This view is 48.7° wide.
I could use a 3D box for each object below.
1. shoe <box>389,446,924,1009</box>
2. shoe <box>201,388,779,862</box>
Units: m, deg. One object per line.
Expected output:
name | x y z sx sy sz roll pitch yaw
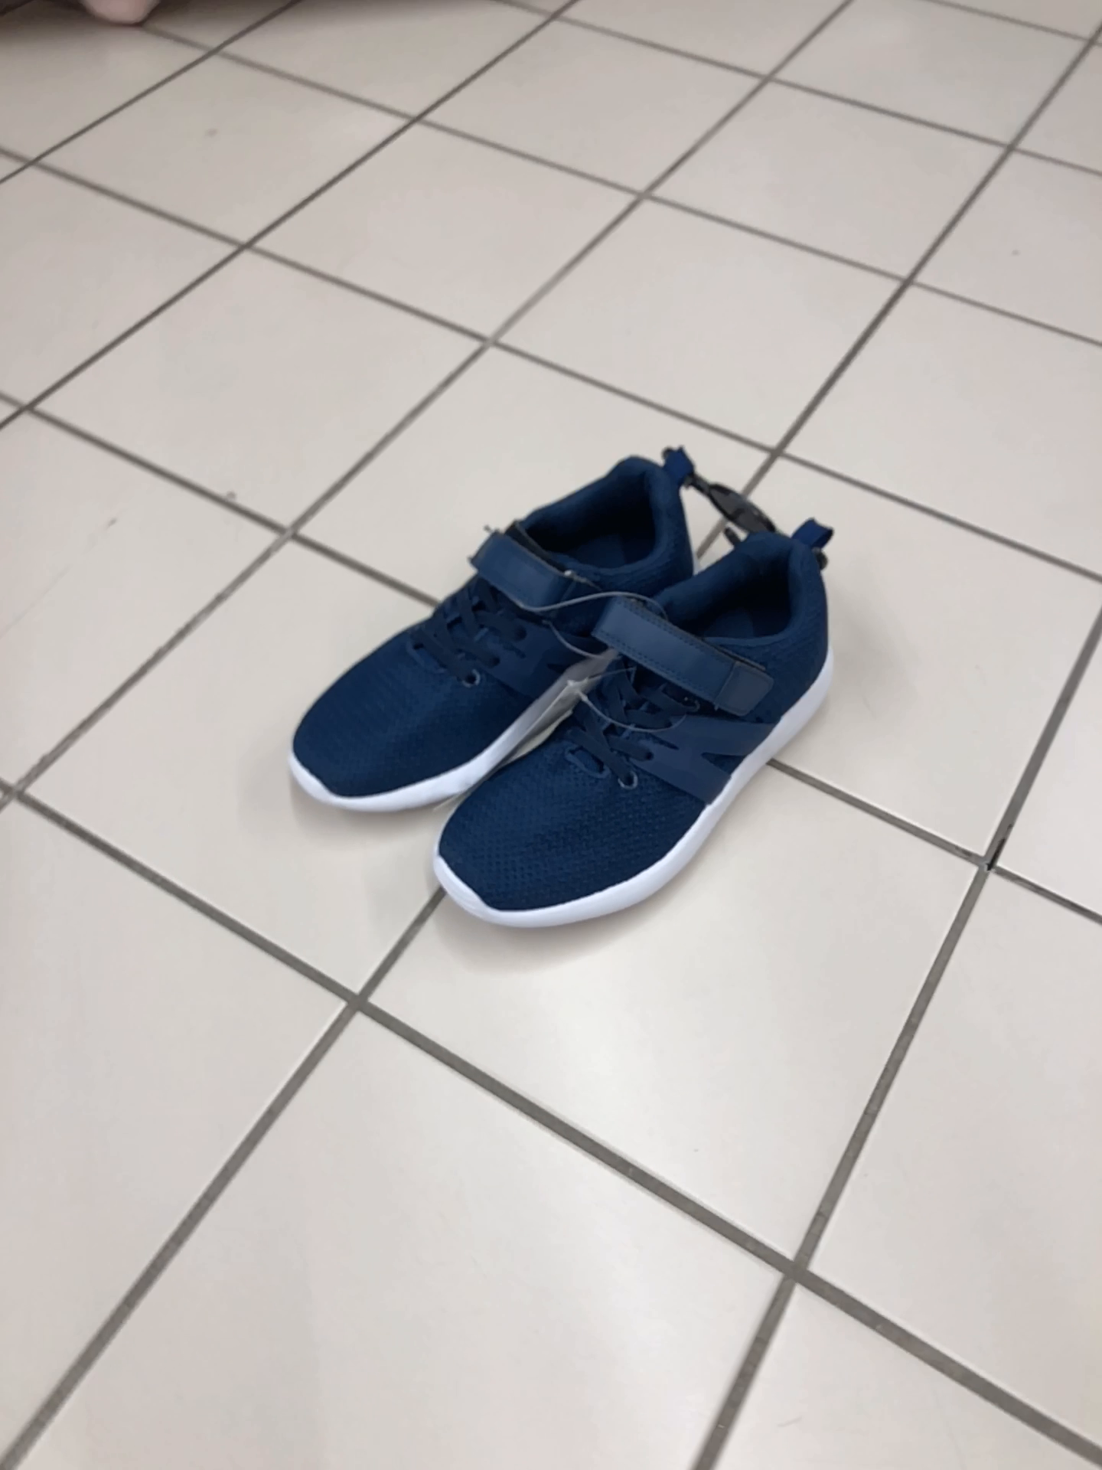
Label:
shoe | 0.051 -0.011 0.540 0.093 0.095 0.239 35 61 23
shoe | -0.024 -0.057 0.575 0.237 0.094 0.103 -28 58 -19
